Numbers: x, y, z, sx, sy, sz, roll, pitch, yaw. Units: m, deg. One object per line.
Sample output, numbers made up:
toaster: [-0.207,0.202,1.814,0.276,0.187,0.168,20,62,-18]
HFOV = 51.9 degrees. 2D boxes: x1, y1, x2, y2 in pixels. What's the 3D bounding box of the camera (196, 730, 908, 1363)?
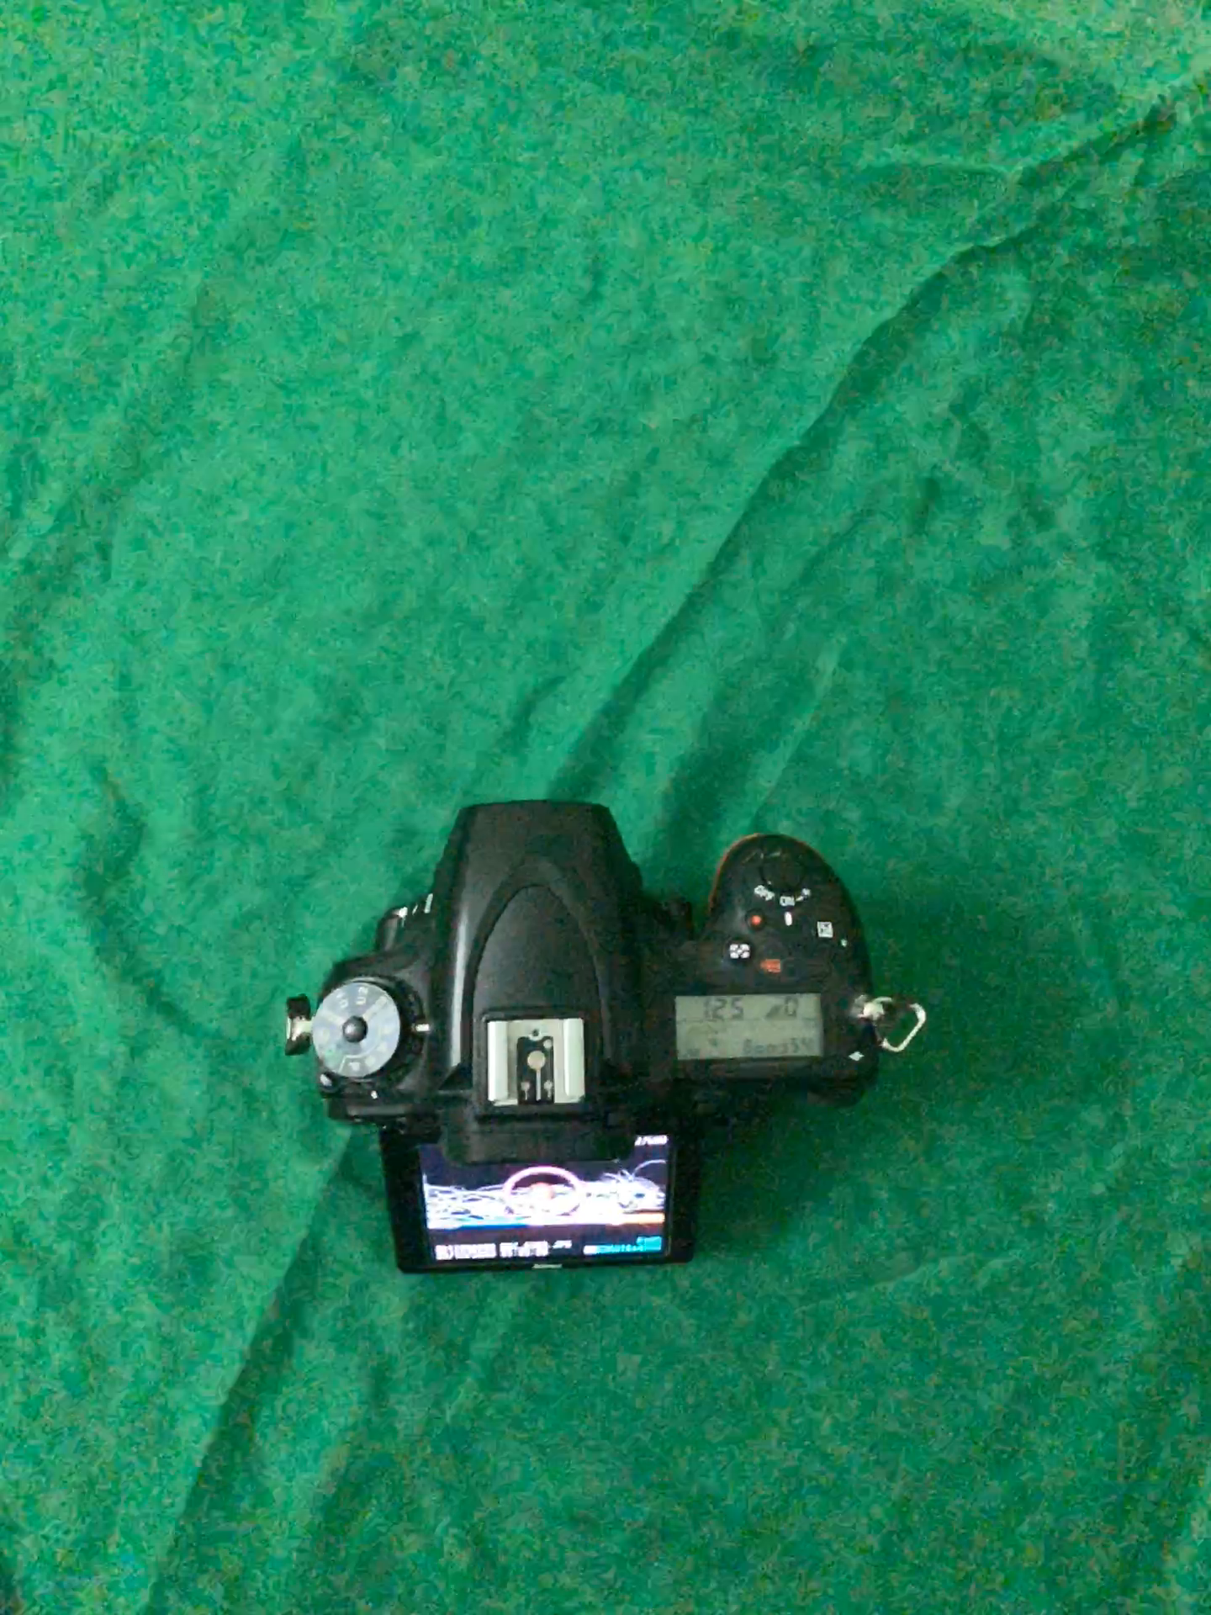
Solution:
camera: [-0.013,0.057,0.310,0.142,0.100,0.128,-1,78,-2]
